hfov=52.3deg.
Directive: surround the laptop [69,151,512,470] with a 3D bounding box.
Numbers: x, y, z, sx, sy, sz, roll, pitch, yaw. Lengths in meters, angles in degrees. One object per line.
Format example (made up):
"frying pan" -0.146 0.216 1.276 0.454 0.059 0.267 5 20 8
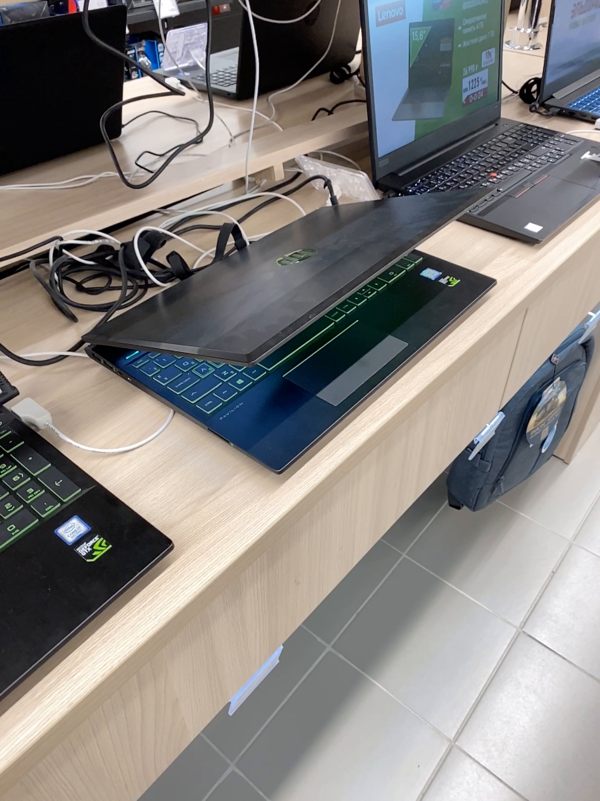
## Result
"laptop" 0.010 -0.124 0.601 0.242 0.092 0.362 29 47 28
